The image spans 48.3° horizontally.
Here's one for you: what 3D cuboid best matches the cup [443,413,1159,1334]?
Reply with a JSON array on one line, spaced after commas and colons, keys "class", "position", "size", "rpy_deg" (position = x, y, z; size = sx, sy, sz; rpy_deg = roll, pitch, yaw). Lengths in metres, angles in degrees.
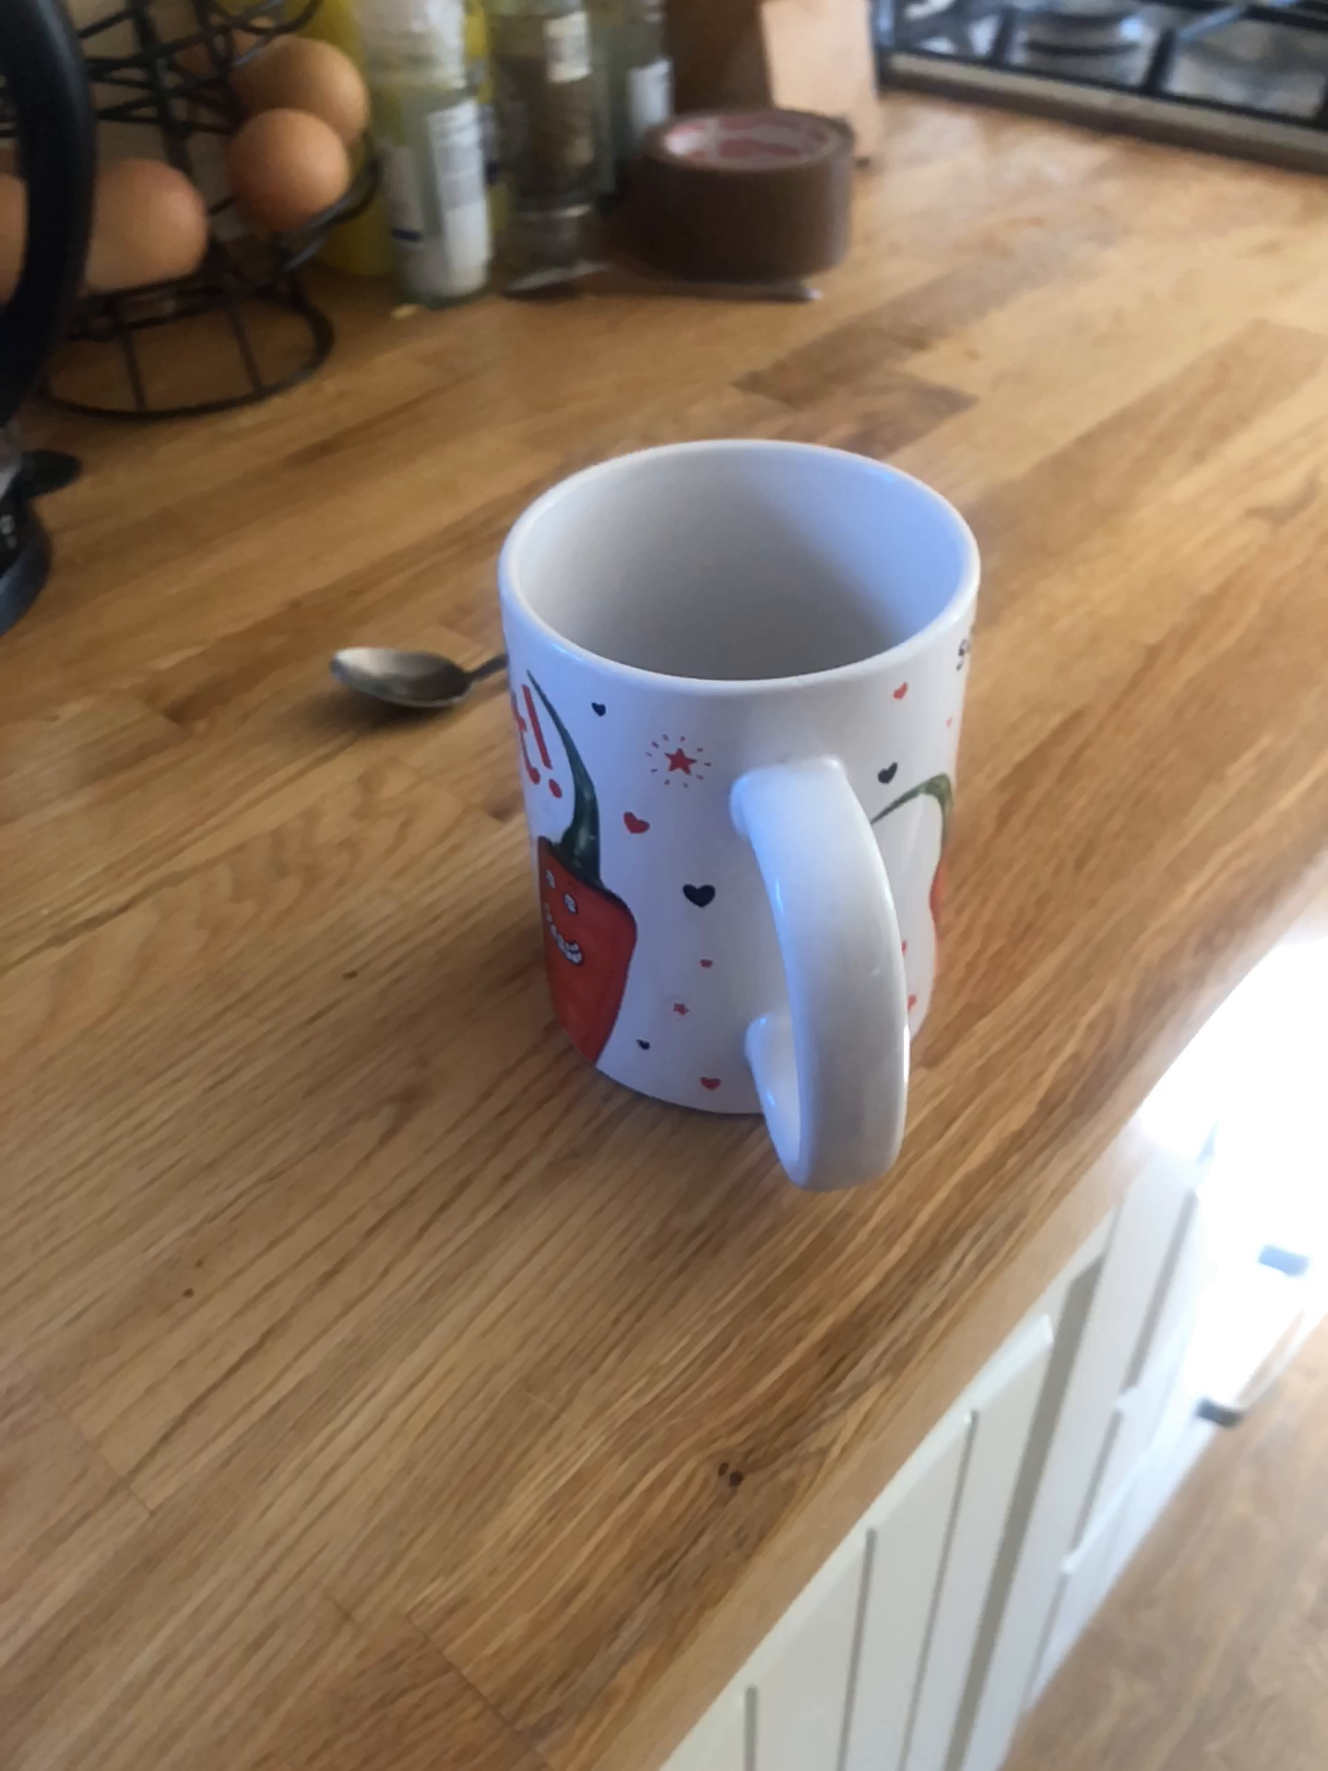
[{"class": "cup", "position": [0.015, -0.008, 0.294], "size": [0.097, 0.109, 0.137], "rpy_deg": [-7, 42, -5]}]
